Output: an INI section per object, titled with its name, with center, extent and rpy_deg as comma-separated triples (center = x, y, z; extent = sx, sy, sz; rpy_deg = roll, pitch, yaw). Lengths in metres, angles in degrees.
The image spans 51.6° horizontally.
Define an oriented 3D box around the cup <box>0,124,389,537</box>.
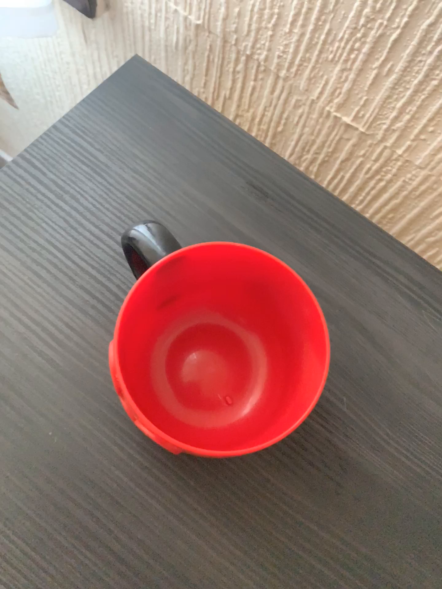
[cup]
center = -0.017, 0.013, 0.210
extent = 0.100, 0.070, 0.130
rpy_deg = -35, 79, -17
